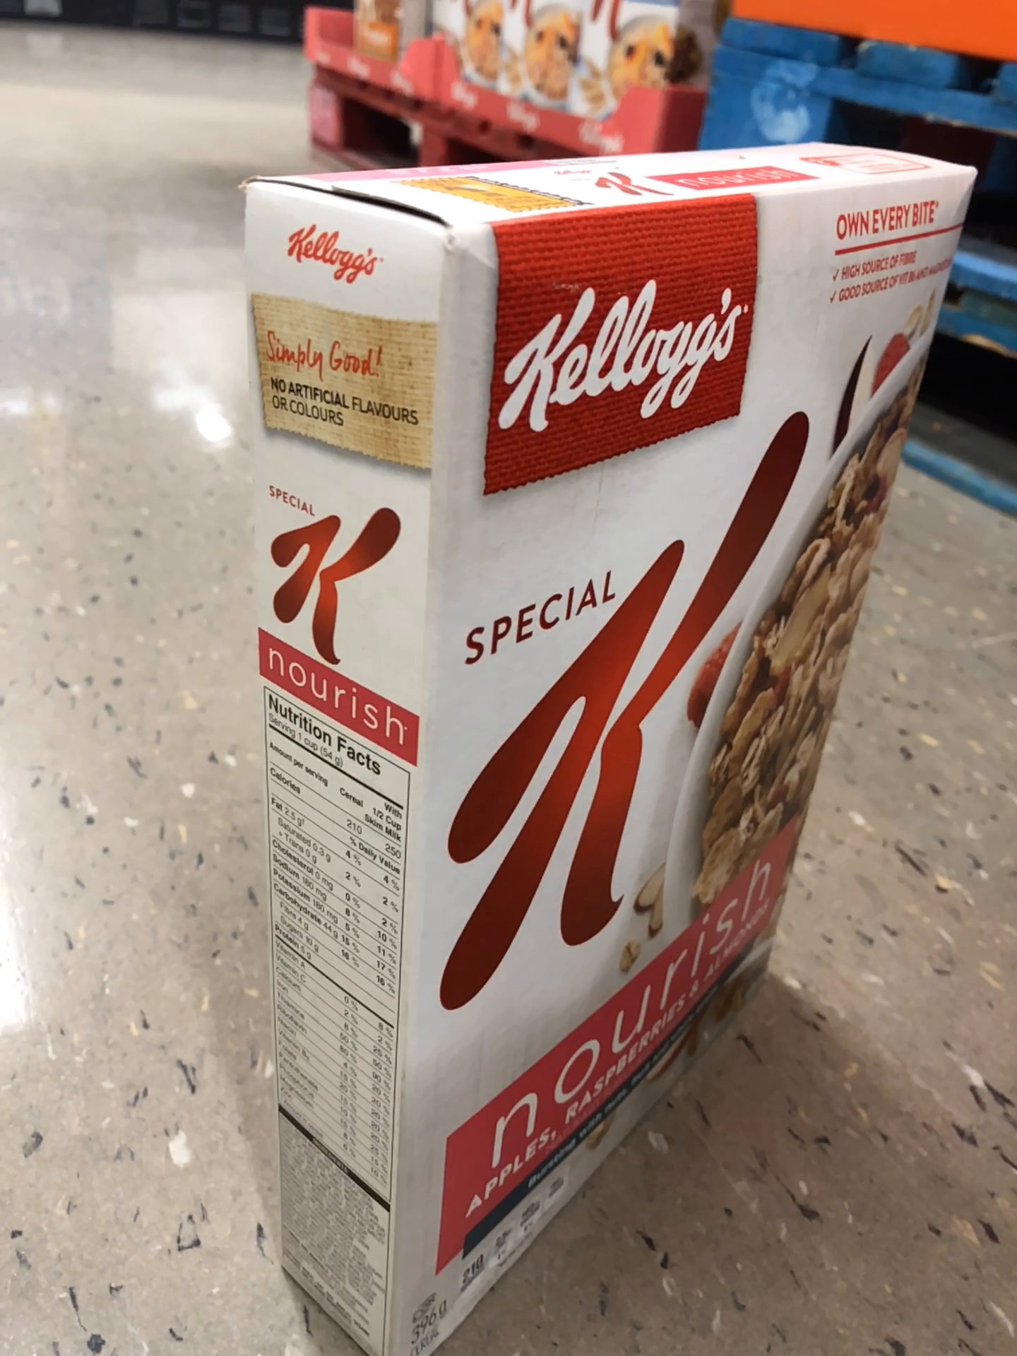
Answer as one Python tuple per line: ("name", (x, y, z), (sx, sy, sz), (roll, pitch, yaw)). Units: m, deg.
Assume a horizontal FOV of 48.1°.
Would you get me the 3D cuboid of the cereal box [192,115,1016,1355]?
("cereal box", (0.027, 0.021, 0.289), (0.050, 0.289, 0.211), (27, 36, 30))
